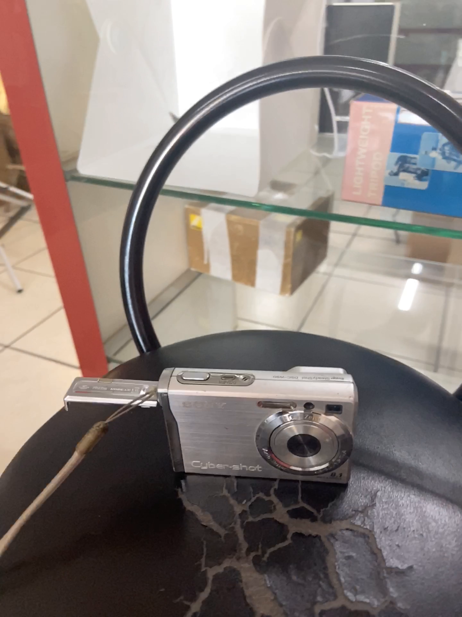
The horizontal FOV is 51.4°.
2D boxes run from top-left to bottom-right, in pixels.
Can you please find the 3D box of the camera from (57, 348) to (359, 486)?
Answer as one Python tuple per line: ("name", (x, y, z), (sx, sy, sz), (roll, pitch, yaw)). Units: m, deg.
("camera", (-0.010, 0.053, 0.239), (0.136, 0.053, 0.030), (2, 32, 7))
